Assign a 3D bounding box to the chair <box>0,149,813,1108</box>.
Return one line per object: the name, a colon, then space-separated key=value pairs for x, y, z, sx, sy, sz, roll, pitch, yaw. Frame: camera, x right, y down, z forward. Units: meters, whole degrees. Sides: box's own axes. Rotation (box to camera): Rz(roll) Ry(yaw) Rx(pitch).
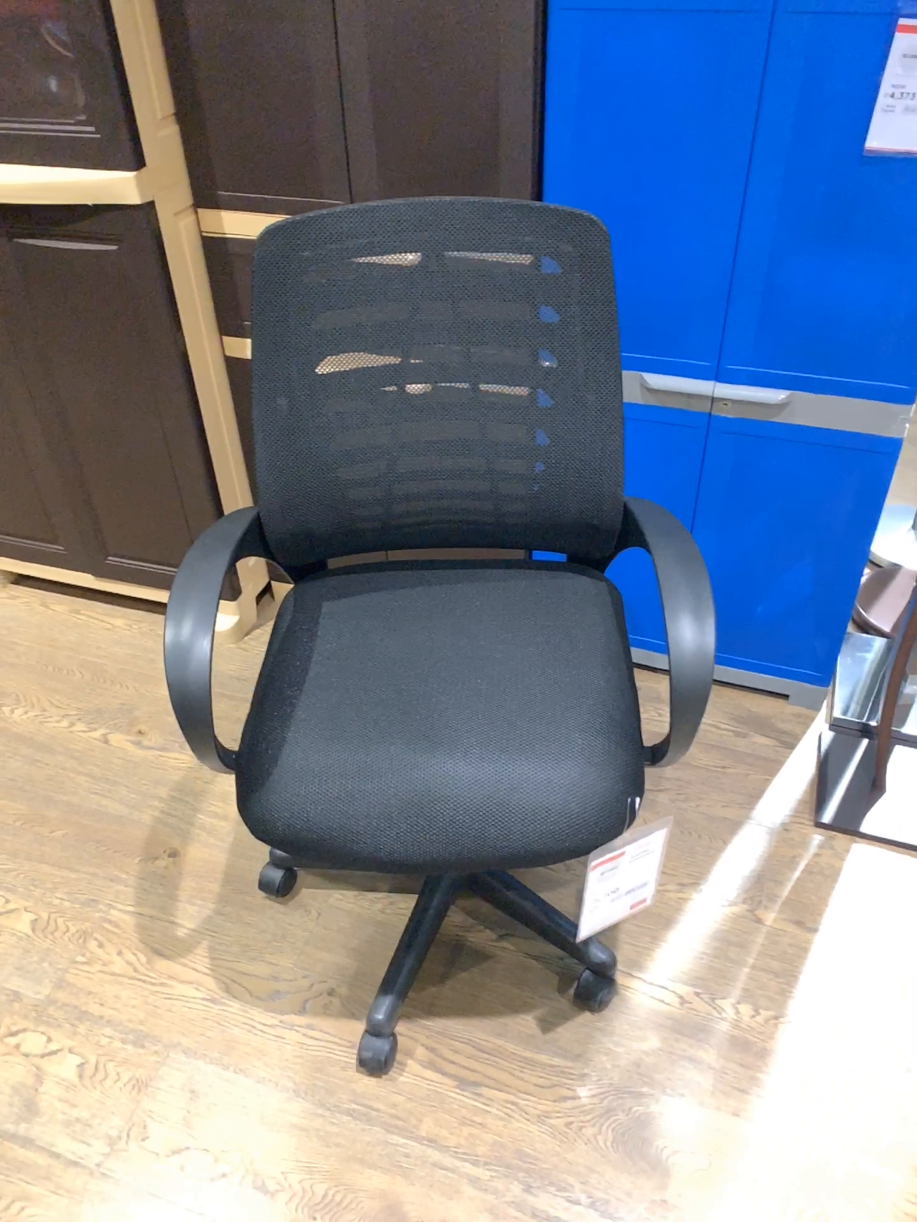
chair: x=-0.055 y=0.061 z=1.132 sx=0.600 sy=0.996 sz=0.602 roll=0 pitch=39 yaw=3
